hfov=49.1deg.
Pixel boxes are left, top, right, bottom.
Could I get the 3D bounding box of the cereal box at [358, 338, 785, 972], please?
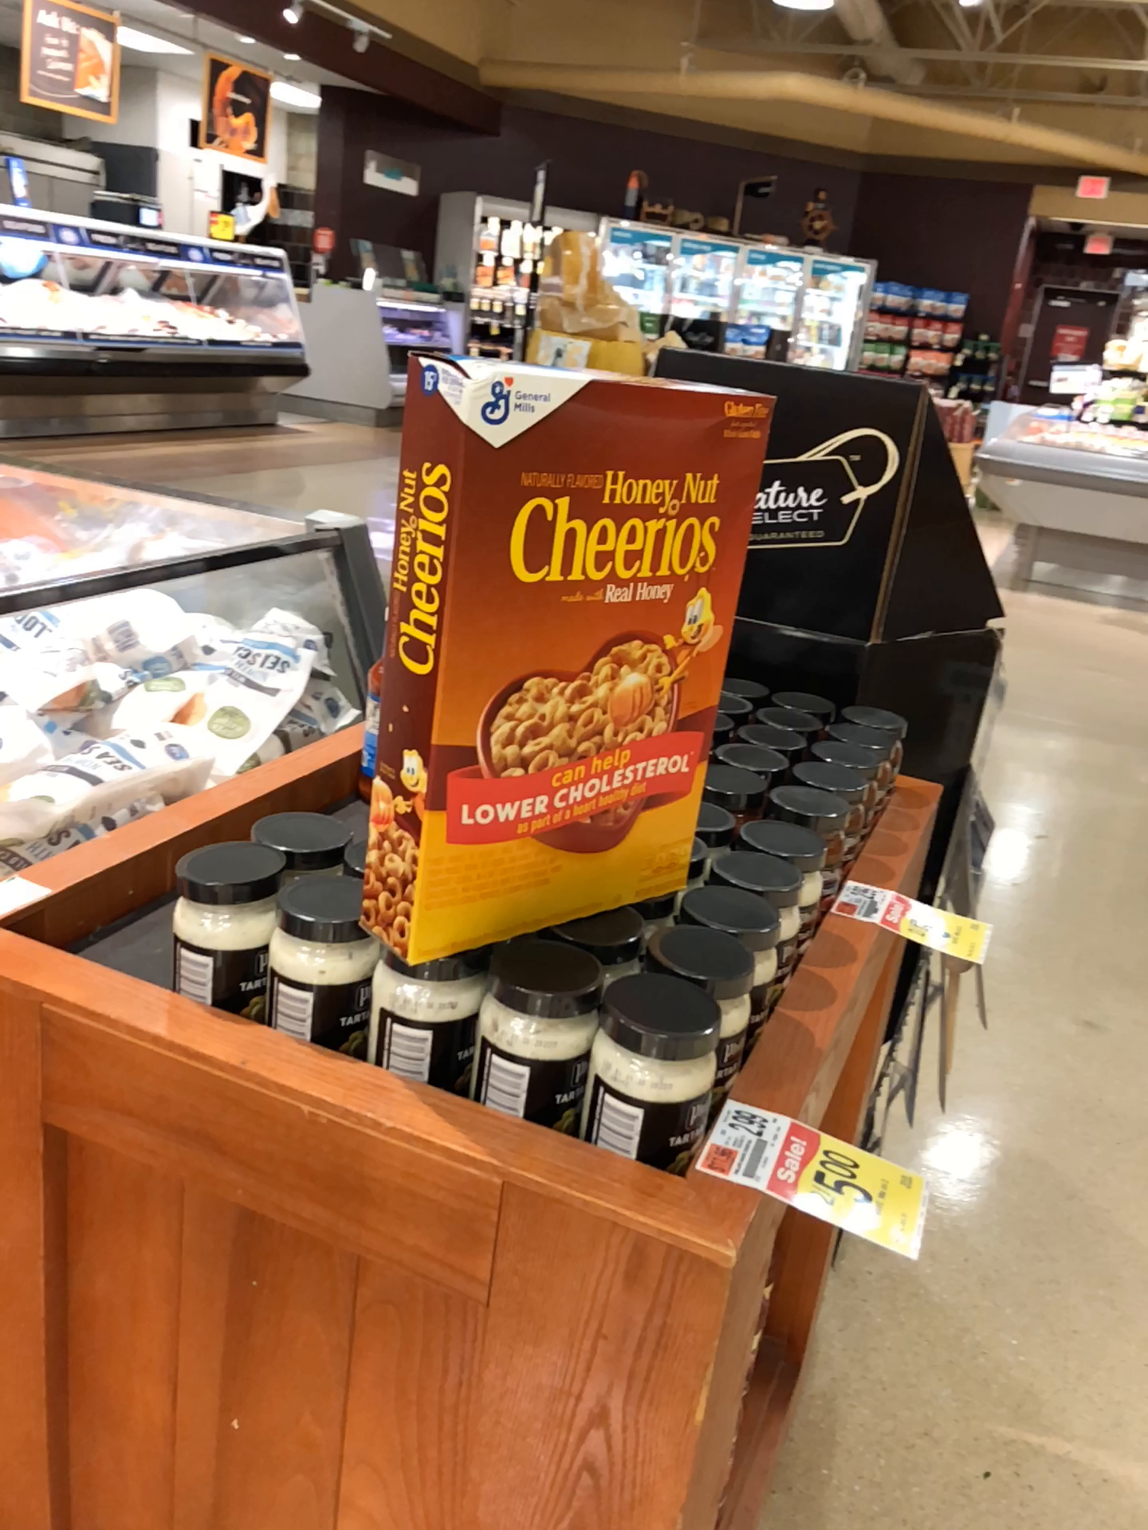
[{"bbox_3d":[-0.001,-0.057,0.644,0.201,0.288,0.050,-10,26,-41],"label":"cereal box"}]
